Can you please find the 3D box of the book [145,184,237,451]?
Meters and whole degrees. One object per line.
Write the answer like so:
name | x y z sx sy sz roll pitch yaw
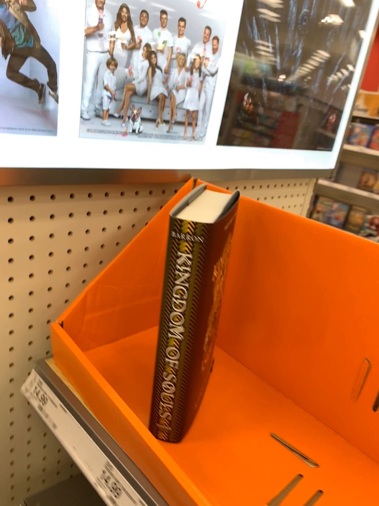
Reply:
book | 0.005 0.059 0.434 0.040 0.240 0.161 10 20 12
